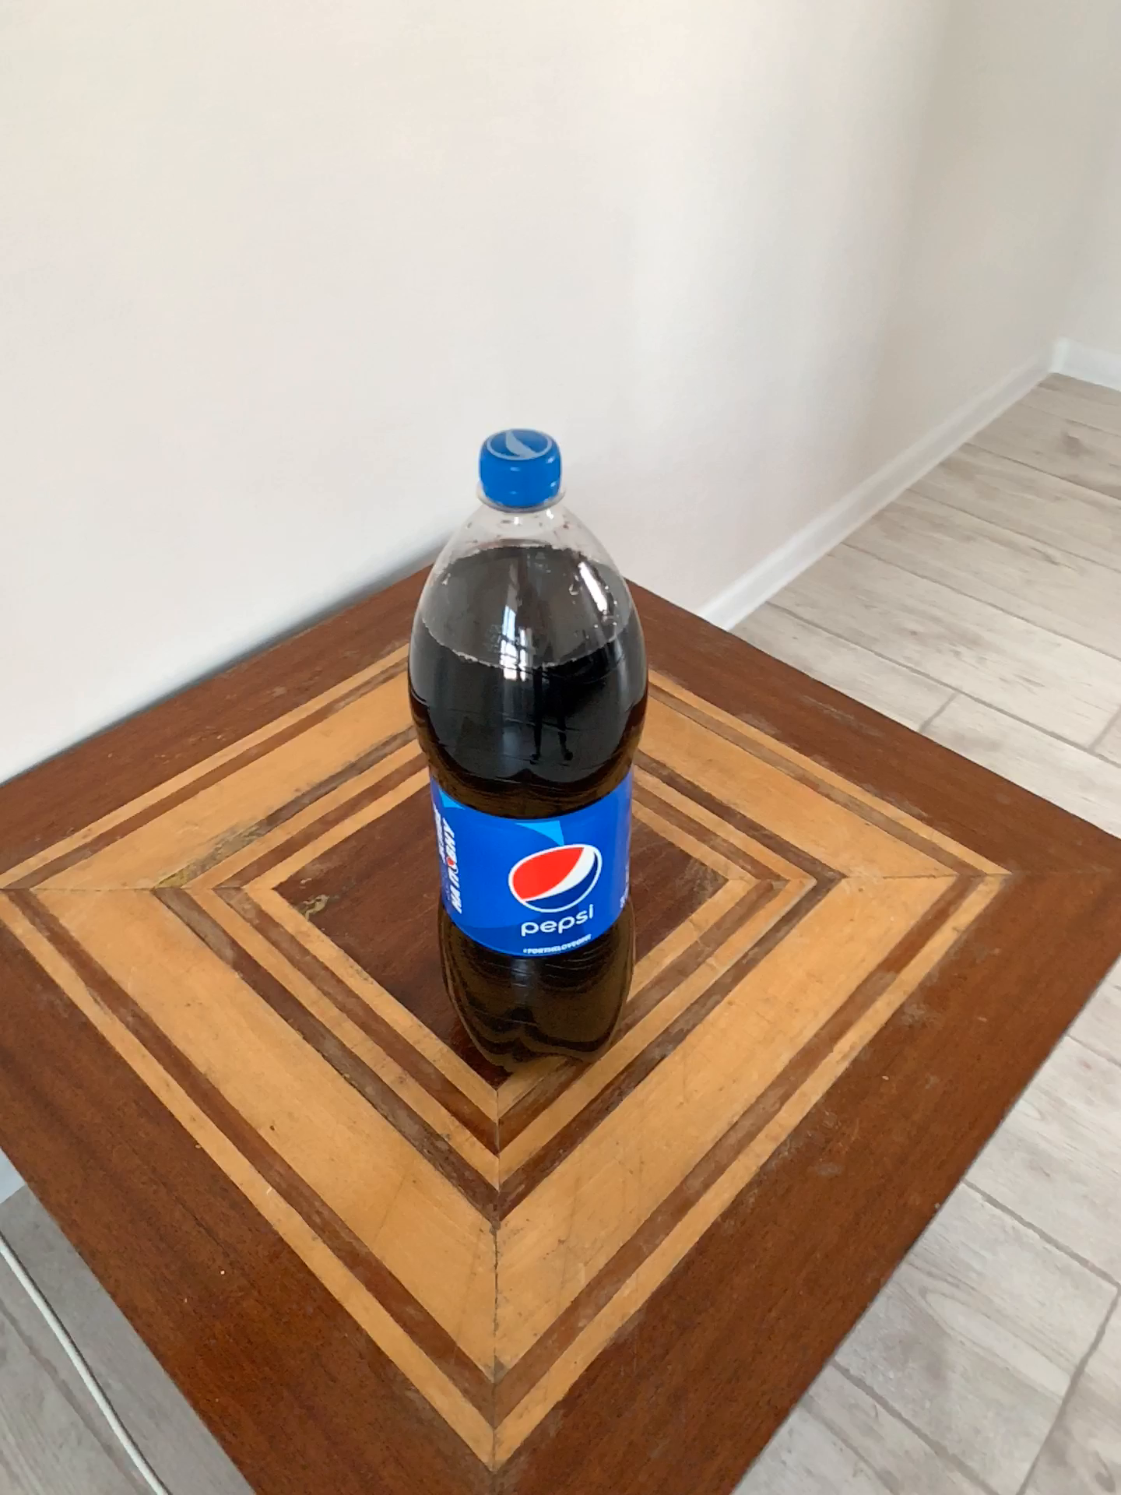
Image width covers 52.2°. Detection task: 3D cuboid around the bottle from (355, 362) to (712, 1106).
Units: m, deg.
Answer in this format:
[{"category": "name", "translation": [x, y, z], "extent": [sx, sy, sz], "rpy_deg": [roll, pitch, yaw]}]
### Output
[{"category": "bottle", "translation": [-0.013, 0.016, 0.519], "extent": [0.100, 0.338, 0.100], "rpy_deg": [0, 43, 0]}]
